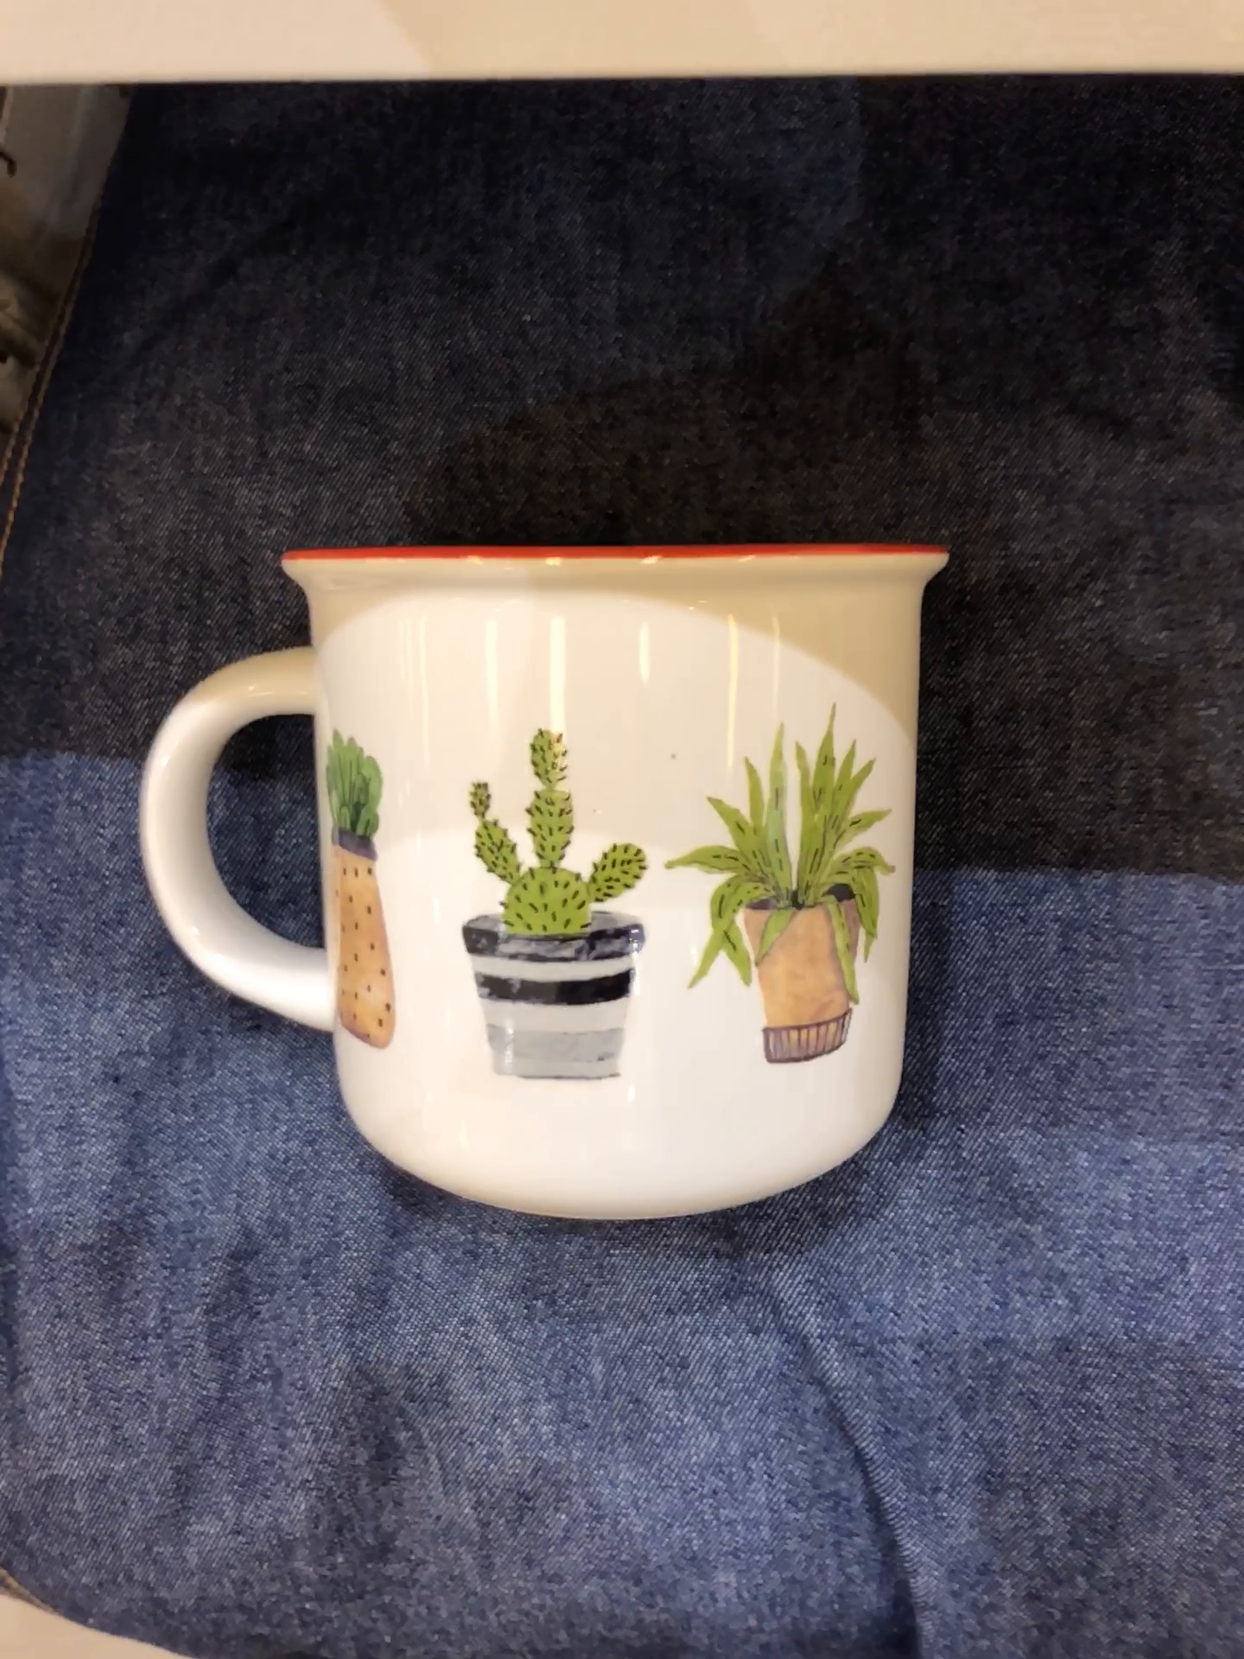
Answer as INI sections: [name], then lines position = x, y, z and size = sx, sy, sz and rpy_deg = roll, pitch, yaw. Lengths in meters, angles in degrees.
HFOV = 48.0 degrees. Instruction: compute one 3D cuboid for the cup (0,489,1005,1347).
[cup]
position = -0.019, 0.006, 0.216
size = 0.140, 0.090, 0.100
rpy_deg = 1, 96, 9
